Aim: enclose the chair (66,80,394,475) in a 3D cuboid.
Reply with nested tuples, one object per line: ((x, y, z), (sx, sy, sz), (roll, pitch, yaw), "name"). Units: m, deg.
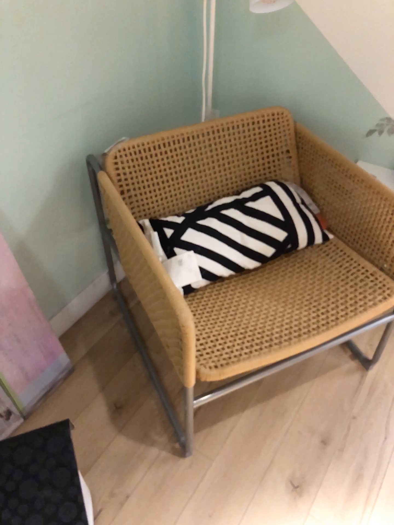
((0.159, -0.026, 1.303), (0.791, 0.628, 0.752), (-19, 46, -18), "chair")
